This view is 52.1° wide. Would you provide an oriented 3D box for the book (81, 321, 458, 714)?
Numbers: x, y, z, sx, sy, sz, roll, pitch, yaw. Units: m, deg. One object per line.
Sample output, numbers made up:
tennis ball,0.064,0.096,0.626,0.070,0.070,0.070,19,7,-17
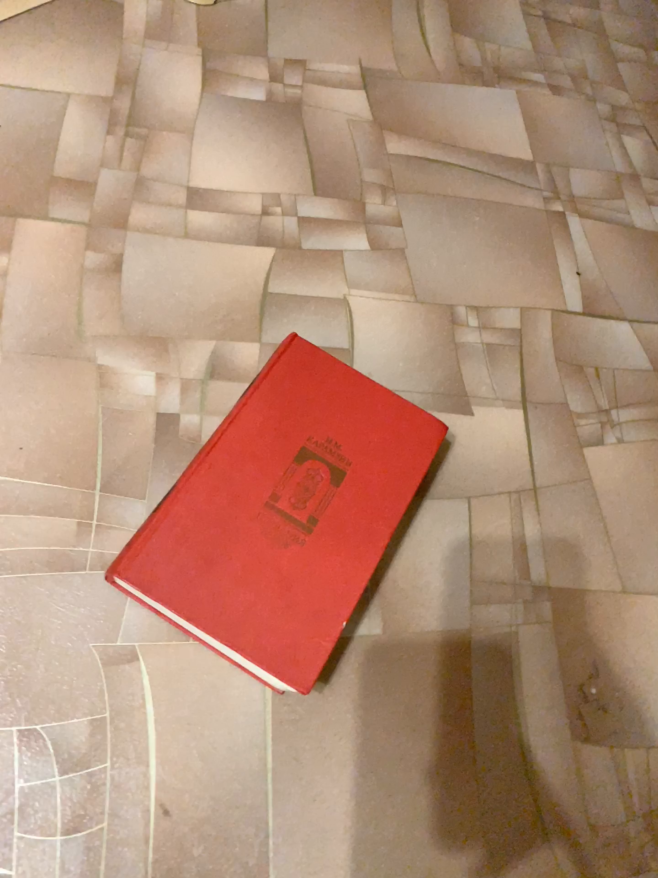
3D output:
book,-0.029,0.041,0.427,0.140,0.050,0.201,31,63,6
